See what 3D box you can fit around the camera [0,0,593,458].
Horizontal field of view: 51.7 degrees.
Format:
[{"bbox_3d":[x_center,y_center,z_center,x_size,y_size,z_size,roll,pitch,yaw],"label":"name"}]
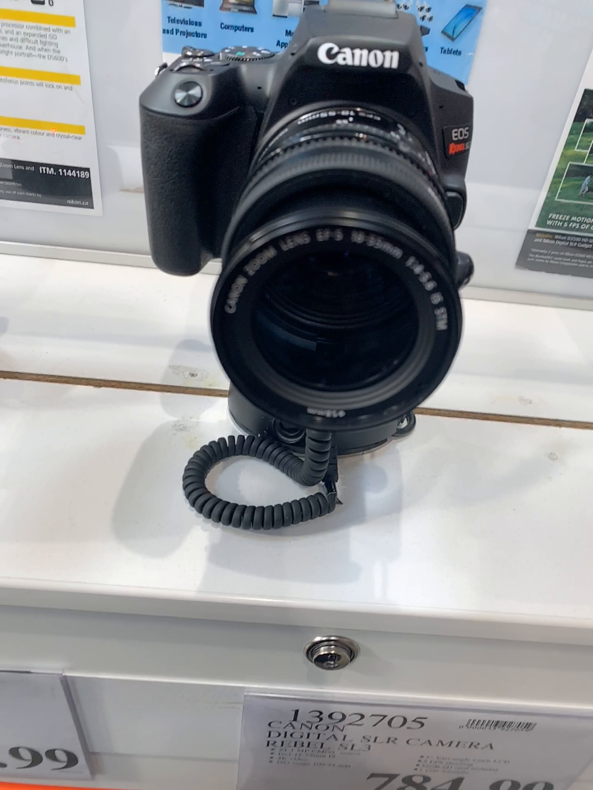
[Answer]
[{"bbox_3d":[0.008,-0.064,0.179,0.119,0.079,0.141,5,37,-3],"label":"camera"}]
